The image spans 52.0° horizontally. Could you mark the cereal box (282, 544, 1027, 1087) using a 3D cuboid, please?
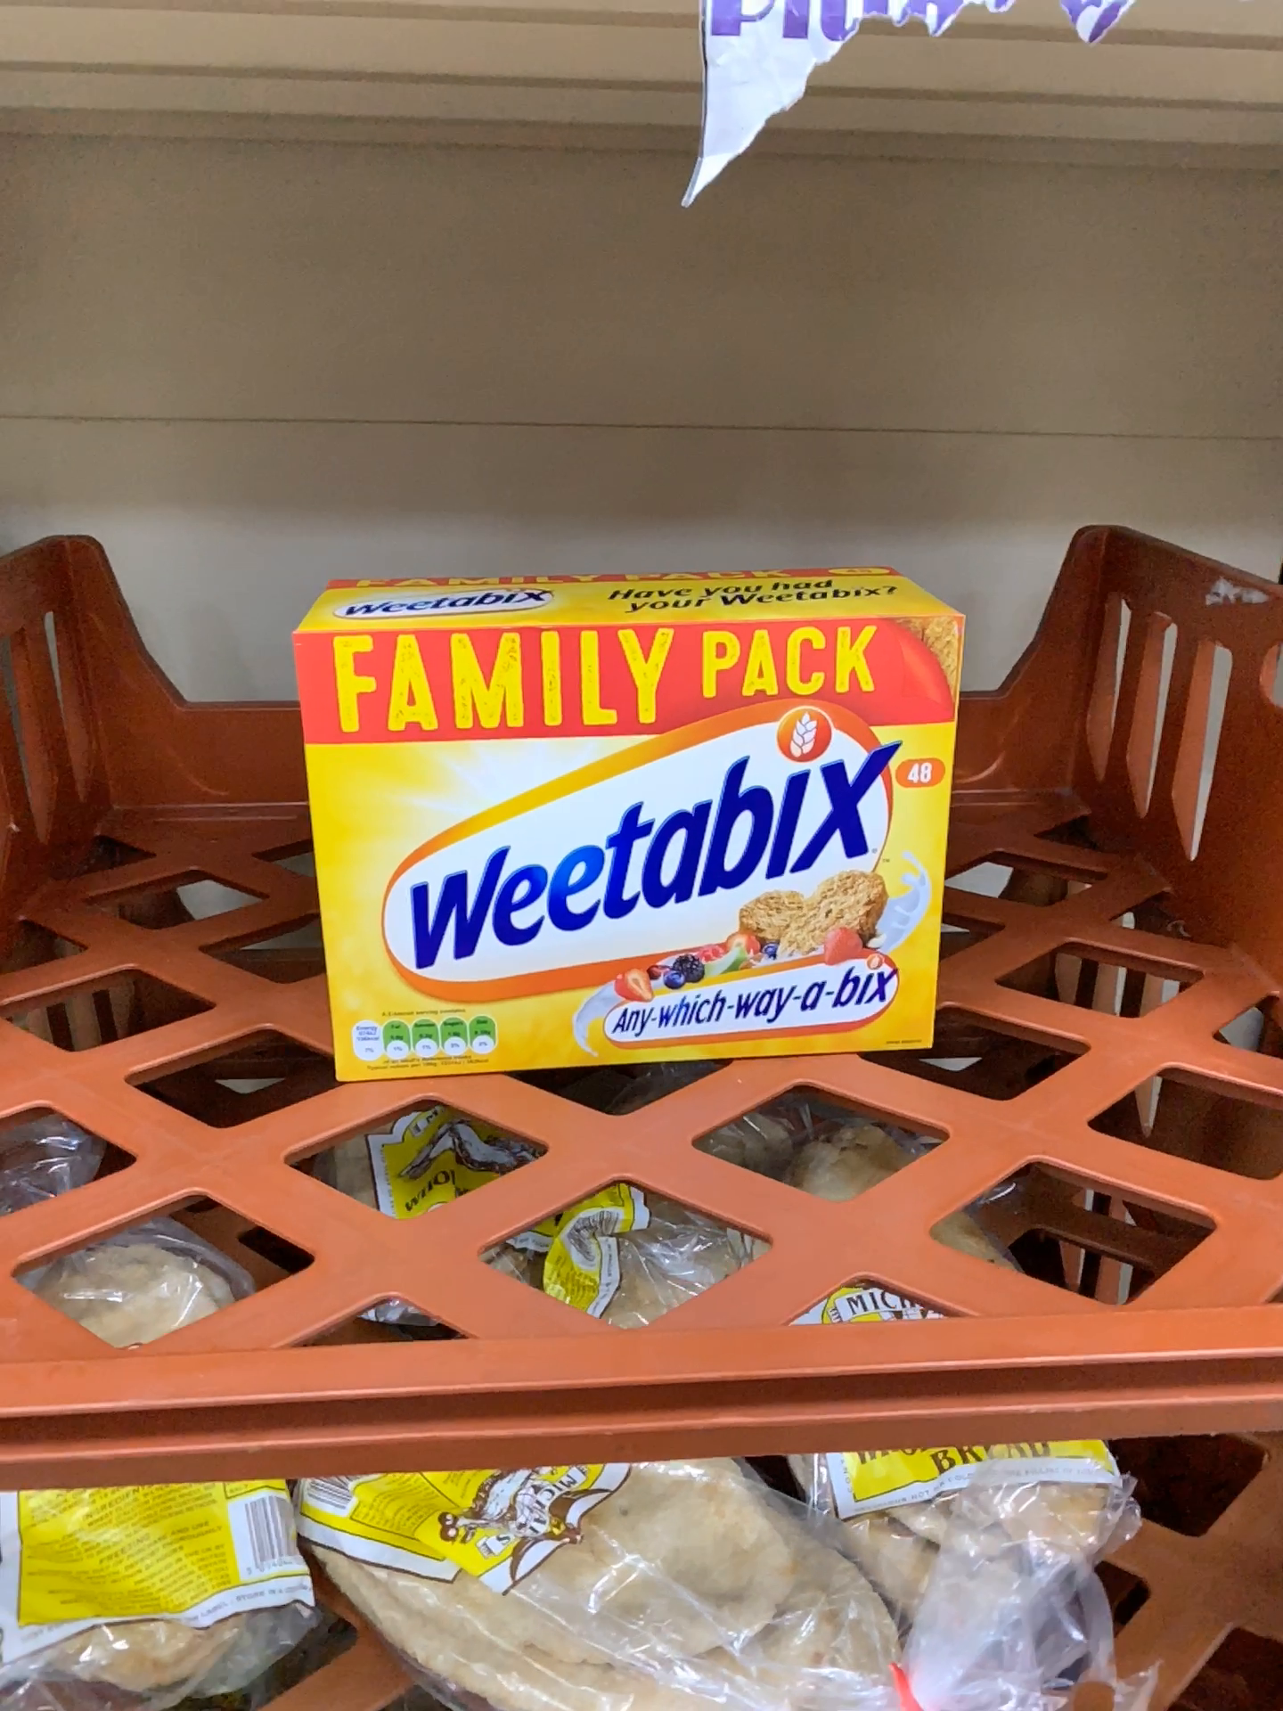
[{"bbox_3d":[0.002,-0.021,0.537,0.260,0.189,0.101,-2,22,-6],"label":"cereal box"}]
